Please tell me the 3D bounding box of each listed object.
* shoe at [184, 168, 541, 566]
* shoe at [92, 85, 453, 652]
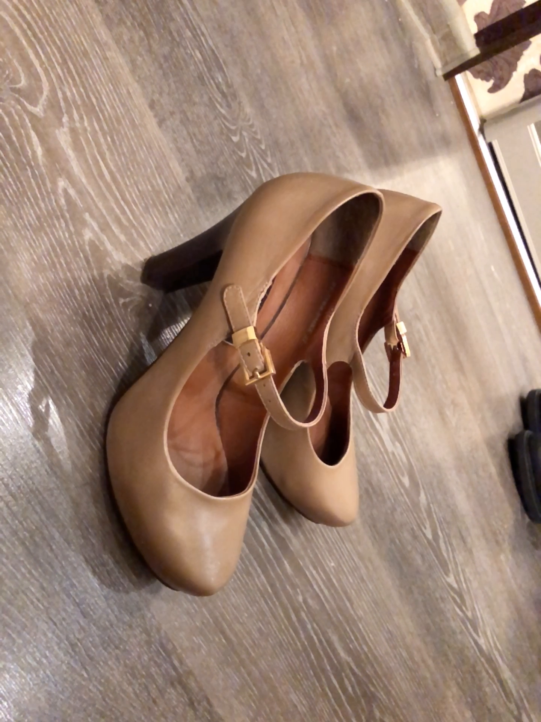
[{"bbox_3d":[0.061,0.009,0.387,0.091,0.159,0.210,-23,97,-49],"label":"shoe"},{"bbox_3d":[-0.009,0.011,0.308,0.090,0.149,0.220,11,71,-47],"label":"shoe"}]
